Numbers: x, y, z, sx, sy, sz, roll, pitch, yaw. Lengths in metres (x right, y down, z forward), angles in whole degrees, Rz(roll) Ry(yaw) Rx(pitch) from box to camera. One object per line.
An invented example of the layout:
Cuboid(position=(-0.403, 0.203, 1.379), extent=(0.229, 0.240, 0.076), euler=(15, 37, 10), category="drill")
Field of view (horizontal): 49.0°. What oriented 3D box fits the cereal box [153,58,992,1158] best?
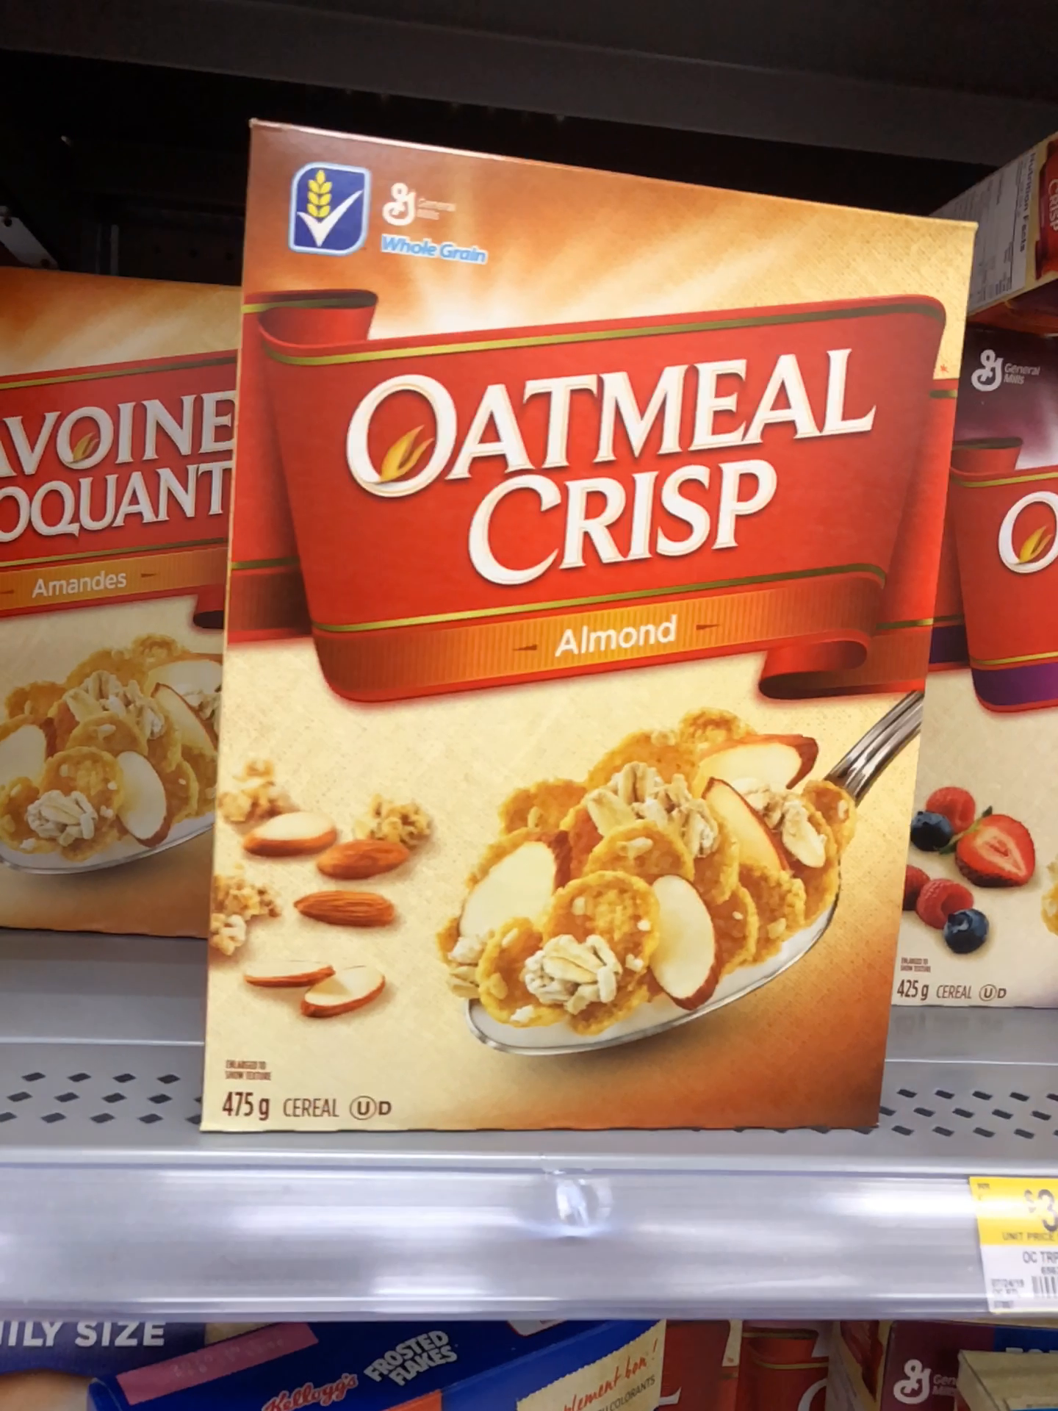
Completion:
Cuboid(position=(0.010, -0.016, 0.339), extent=(0.210, 0.280, 0.050), euler=(4, 5, -11), category="cereal box")
